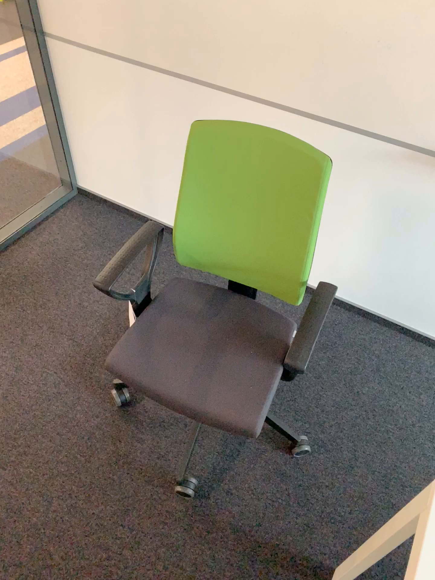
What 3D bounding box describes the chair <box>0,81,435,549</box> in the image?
[{"bbox_3d":[0.021,0.095,1.310,0.760,0.965,0.733,20,50,13],"label":"chair"}]
